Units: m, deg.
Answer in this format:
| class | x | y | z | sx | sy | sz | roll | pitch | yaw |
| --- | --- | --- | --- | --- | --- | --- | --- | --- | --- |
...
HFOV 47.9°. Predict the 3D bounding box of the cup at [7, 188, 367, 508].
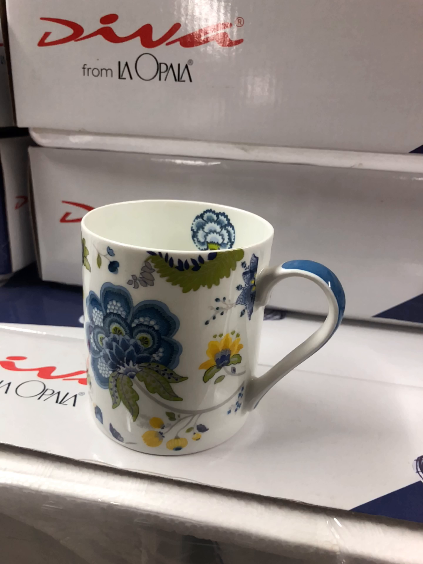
| class | x | y | z | sx | sy | sz | roll | pitch | yaw |
| --- | --- | --- | --- | --- | --- | --- | --- | --- | --- |
| cup | -0.004 | 0.016 | 0.191 | 0.110 | 0.080 | 0.080 | 8 | 23 | 12 |
